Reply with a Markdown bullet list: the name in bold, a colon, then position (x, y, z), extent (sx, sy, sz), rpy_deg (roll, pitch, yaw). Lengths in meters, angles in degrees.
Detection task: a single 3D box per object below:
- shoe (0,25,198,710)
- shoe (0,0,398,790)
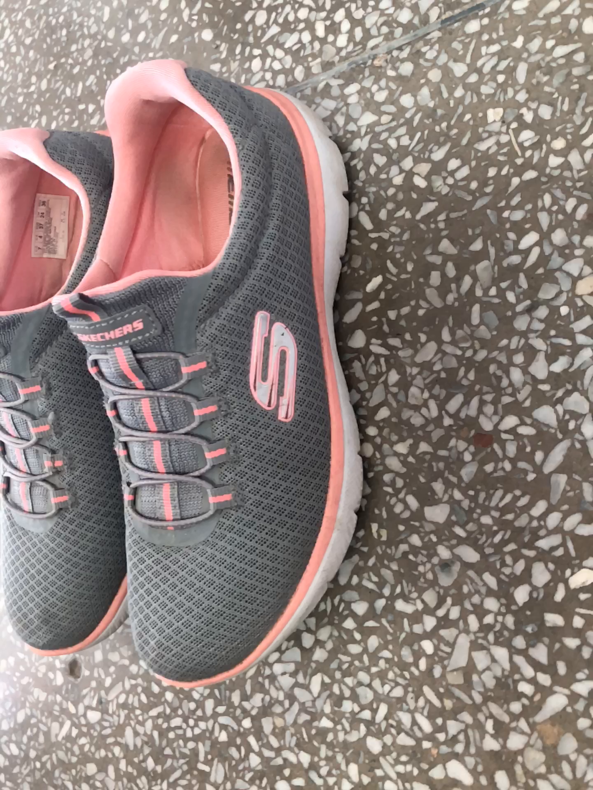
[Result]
- **shoe**: position (-0.125, -0.011, 0.305), extent (0.097, 0.094, 0.252), rpy_deg (-1, 81, 32)
- **shoe**: position (-0.036, -0.012, 0.255), extent (0.102, 0.108, 0.246), rpy_deg (-1, 81, 32)
